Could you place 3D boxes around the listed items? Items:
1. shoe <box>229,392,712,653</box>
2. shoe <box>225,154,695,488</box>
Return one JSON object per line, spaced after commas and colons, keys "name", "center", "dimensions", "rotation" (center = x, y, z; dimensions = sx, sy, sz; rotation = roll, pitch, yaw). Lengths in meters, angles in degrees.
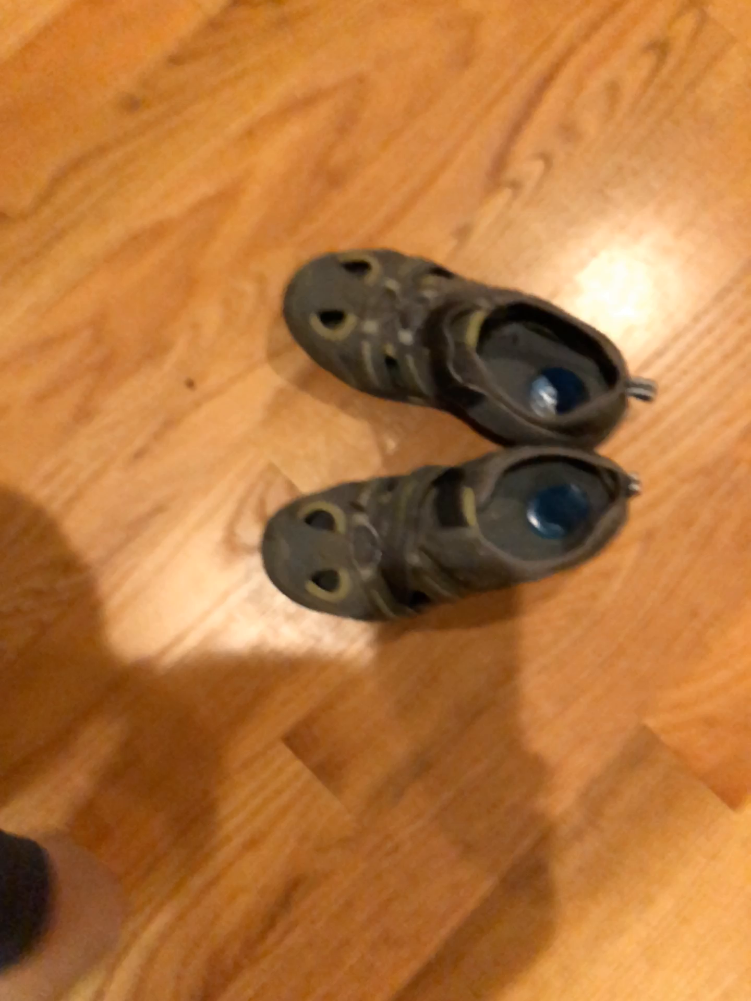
{"name": "shoe", "center": [0.050, 0.018, 0.505], "dimensions": [0.245, 0.113, 0.100], "rotation": [-10, 82, -2]}
{"name": "shoe", "center": [0.048, -0.104, 0.526], "dimensions": [0.245, 0.113, 0.100], "rotation": [20, 82, 3]}
